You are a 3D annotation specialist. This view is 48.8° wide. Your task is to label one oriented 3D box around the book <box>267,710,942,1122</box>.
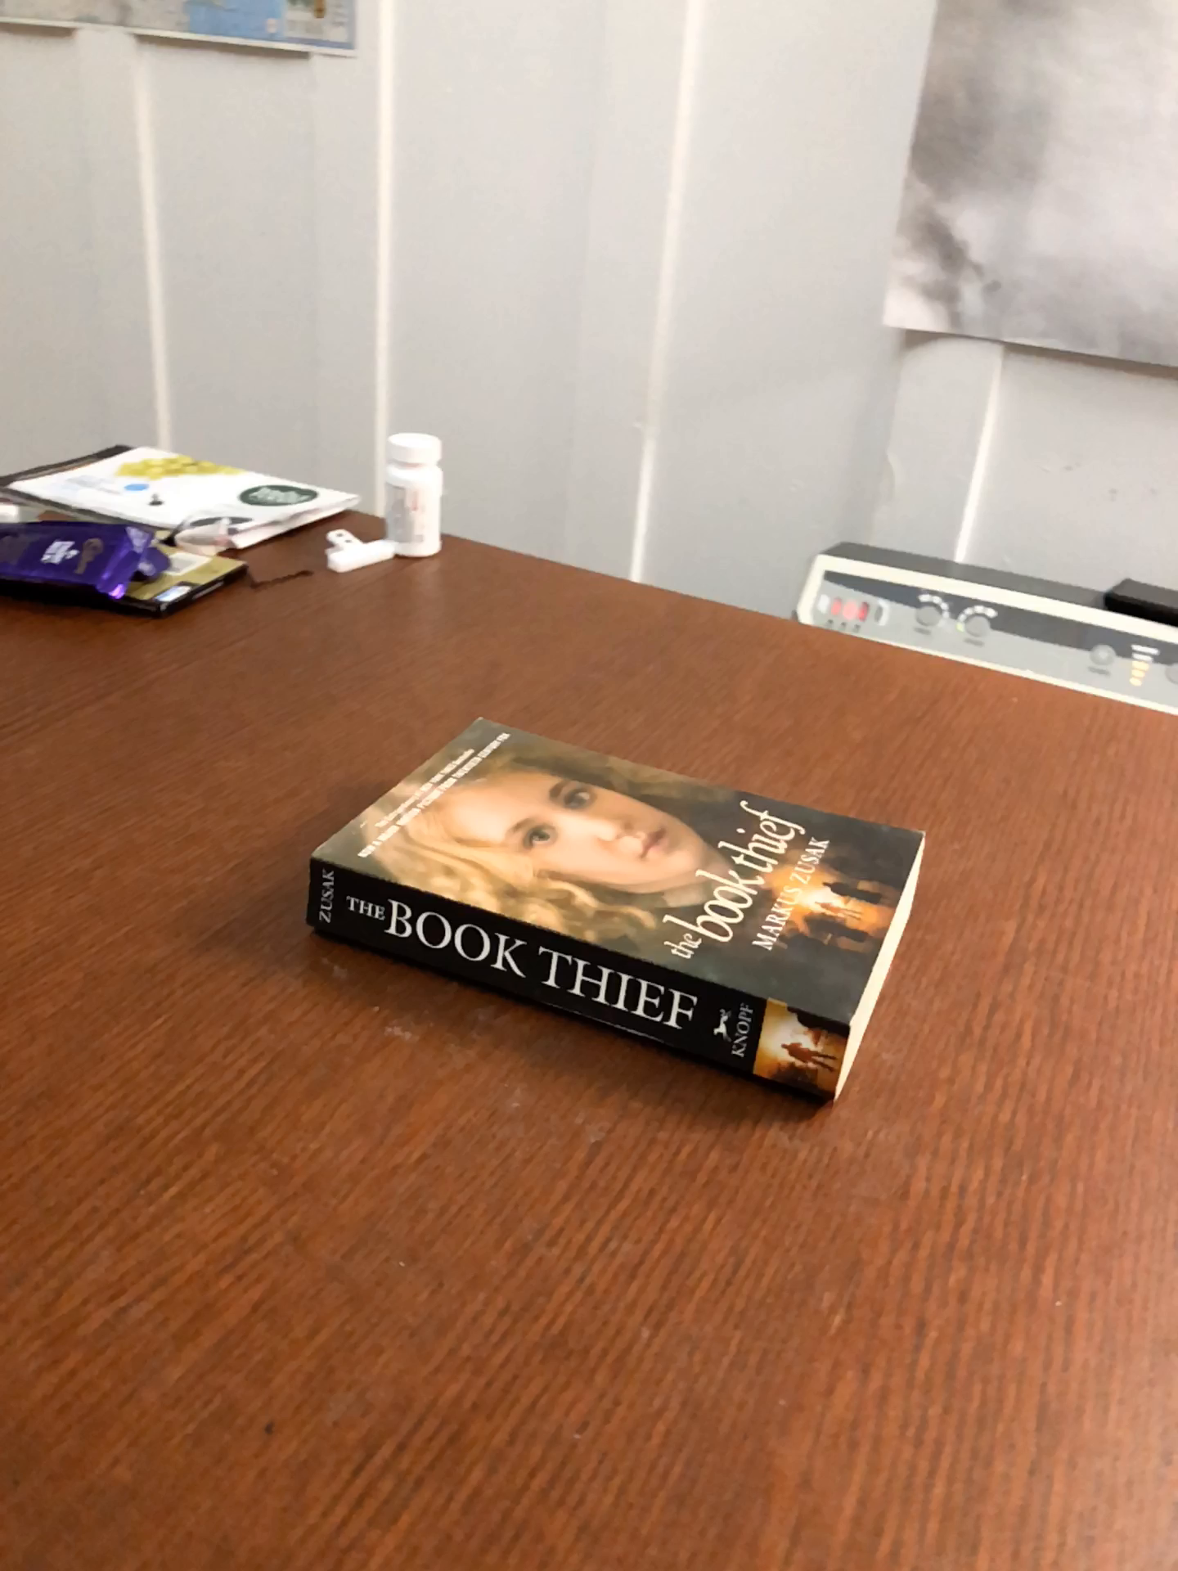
[{"bbox_3d":[0.012,0.037,0.507,0.220,0.030,0.151,15,29,18],"label":"book"}]
